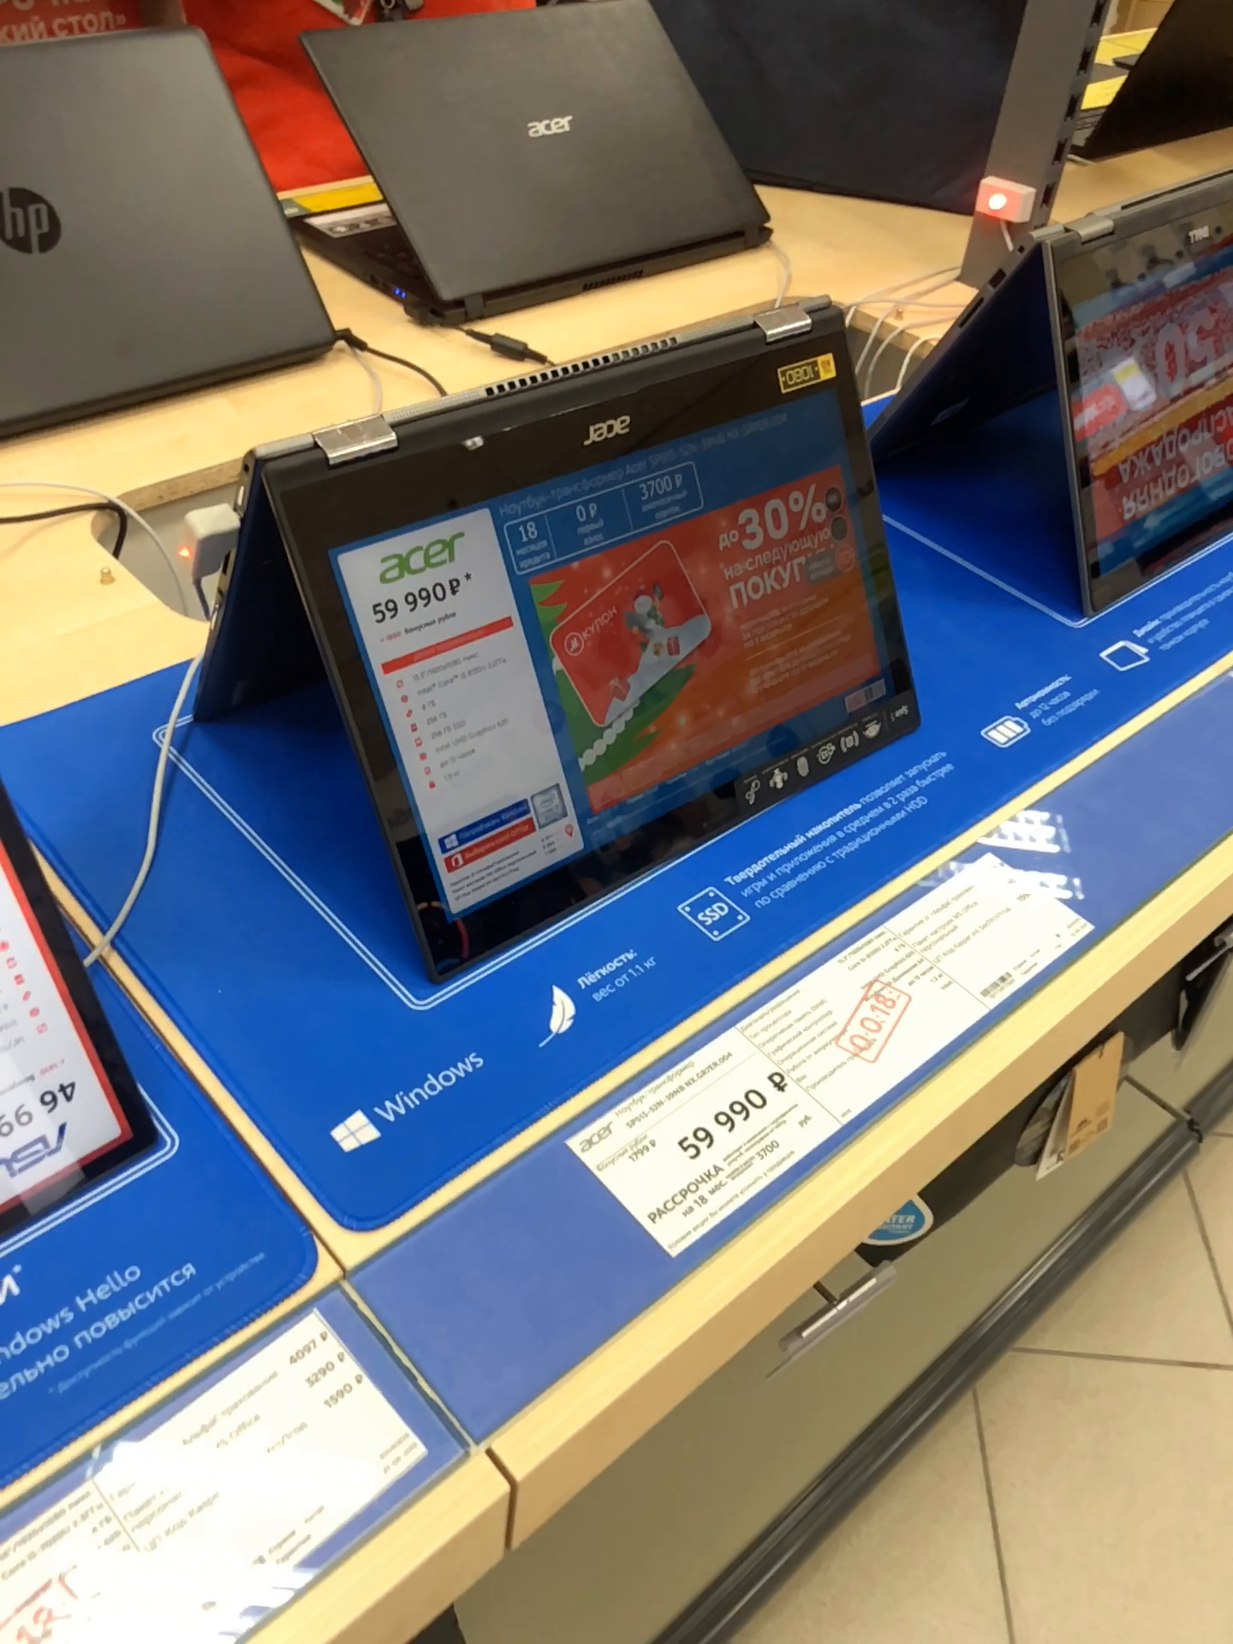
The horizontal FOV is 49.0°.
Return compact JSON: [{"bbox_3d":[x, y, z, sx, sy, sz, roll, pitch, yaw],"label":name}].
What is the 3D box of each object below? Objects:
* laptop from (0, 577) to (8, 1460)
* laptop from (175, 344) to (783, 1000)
[{"bbox_3d":[-0.372,0.087,0.486,0.270,0.179,0.175,-27,21,-36],"label":"laptop"},{"bbox_3d":[-0.075,-0.072,0.754,0.201,0.159,0.308,-5,17,47],"label":"laptop"}]
